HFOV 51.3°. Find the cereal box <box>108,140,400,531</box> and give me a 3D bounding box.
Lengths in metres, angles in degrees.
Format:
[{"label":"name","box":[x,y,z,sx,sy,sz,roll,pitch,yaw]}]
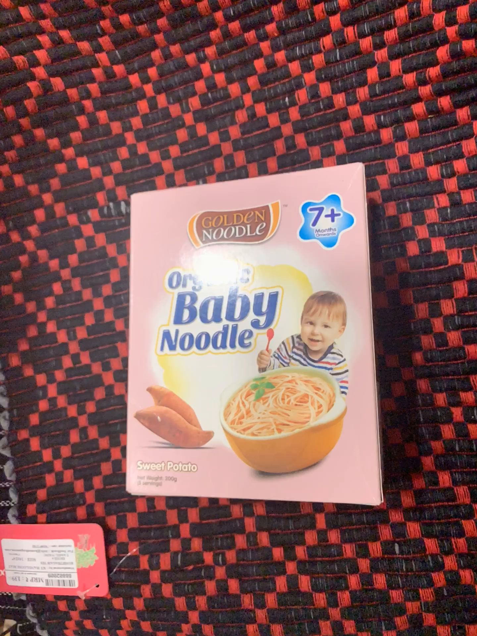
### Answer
[{"label":"cereal box","box":[0.006,0.010,0.246,0.130,0.050,0.160,-3,83,17]}]
